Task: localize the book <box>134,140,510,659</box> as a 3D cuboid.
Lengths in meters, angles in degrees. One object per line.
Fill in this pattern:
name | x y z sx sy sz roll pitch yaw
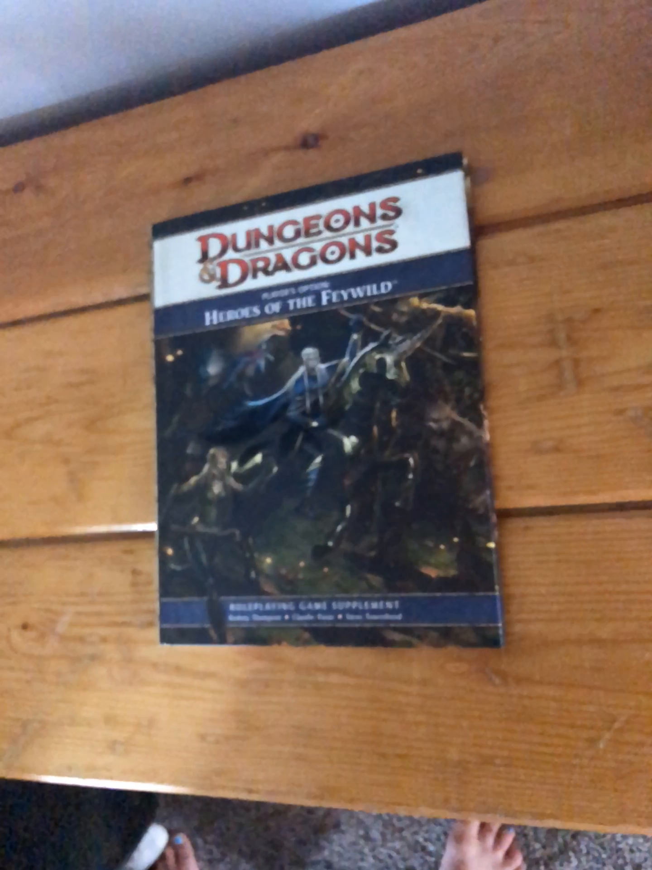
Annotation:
book | -0.015 -0.013 0.438 0.220 0.020 0.280 -6 83 22
